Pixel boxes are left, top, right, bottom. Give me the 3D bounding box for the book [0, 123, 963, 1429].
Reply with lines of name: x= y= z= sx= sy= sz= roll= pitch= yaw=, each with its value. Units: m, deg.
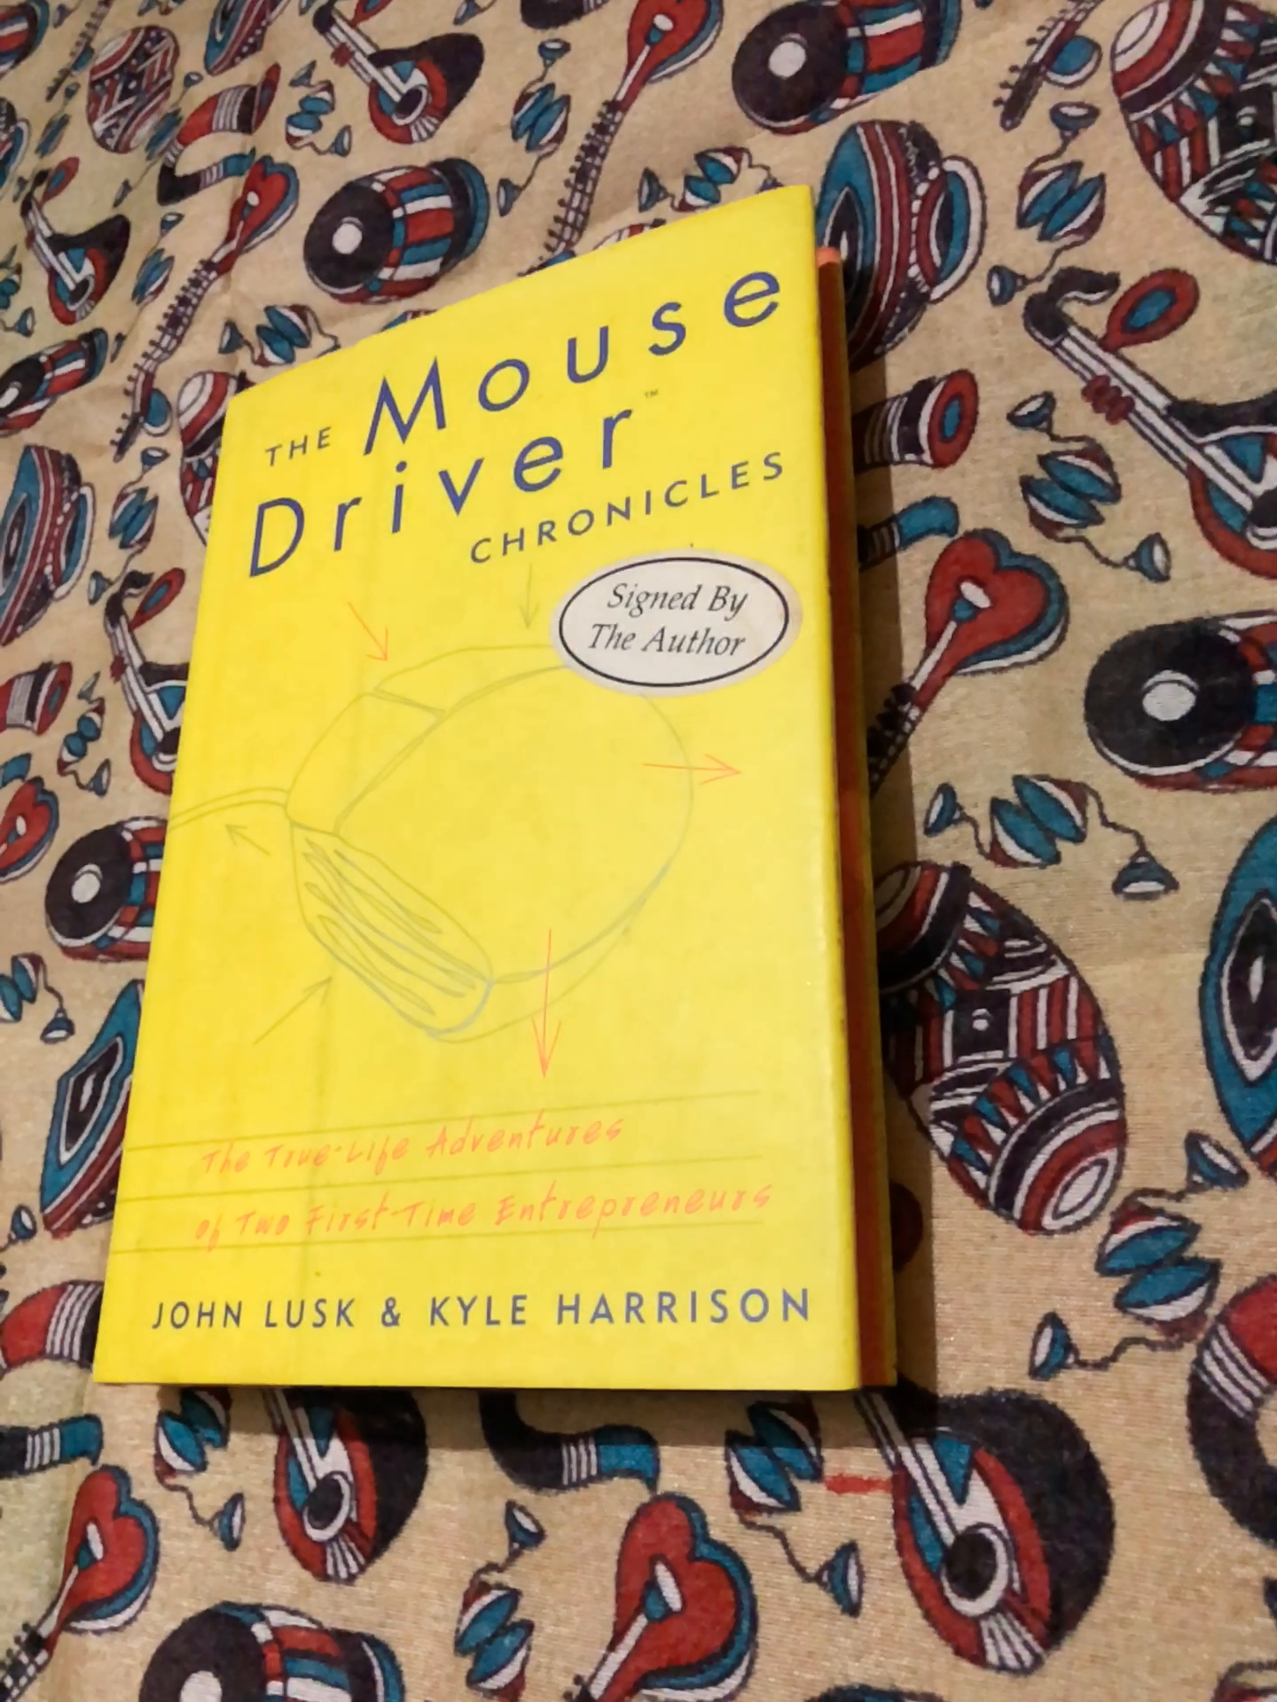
book: x=-0.032 y=-0.013 z=0.265 sx=0.160 sy=0.040 sz=0.220 roll=-10 pitch=63 yaw=25
